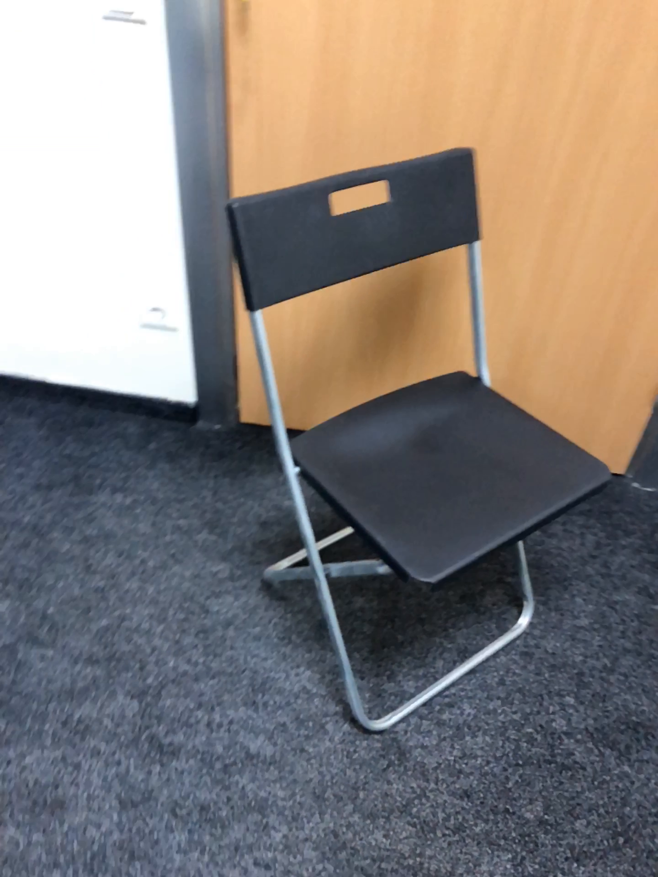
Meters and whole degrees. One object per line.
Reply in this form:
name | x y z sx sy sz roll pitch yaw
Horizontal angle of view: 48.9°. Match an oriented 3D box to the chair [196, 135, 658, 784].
chair | 0.149 0.026 1.096 0.481 0.725 0.482 -23 48 -27
